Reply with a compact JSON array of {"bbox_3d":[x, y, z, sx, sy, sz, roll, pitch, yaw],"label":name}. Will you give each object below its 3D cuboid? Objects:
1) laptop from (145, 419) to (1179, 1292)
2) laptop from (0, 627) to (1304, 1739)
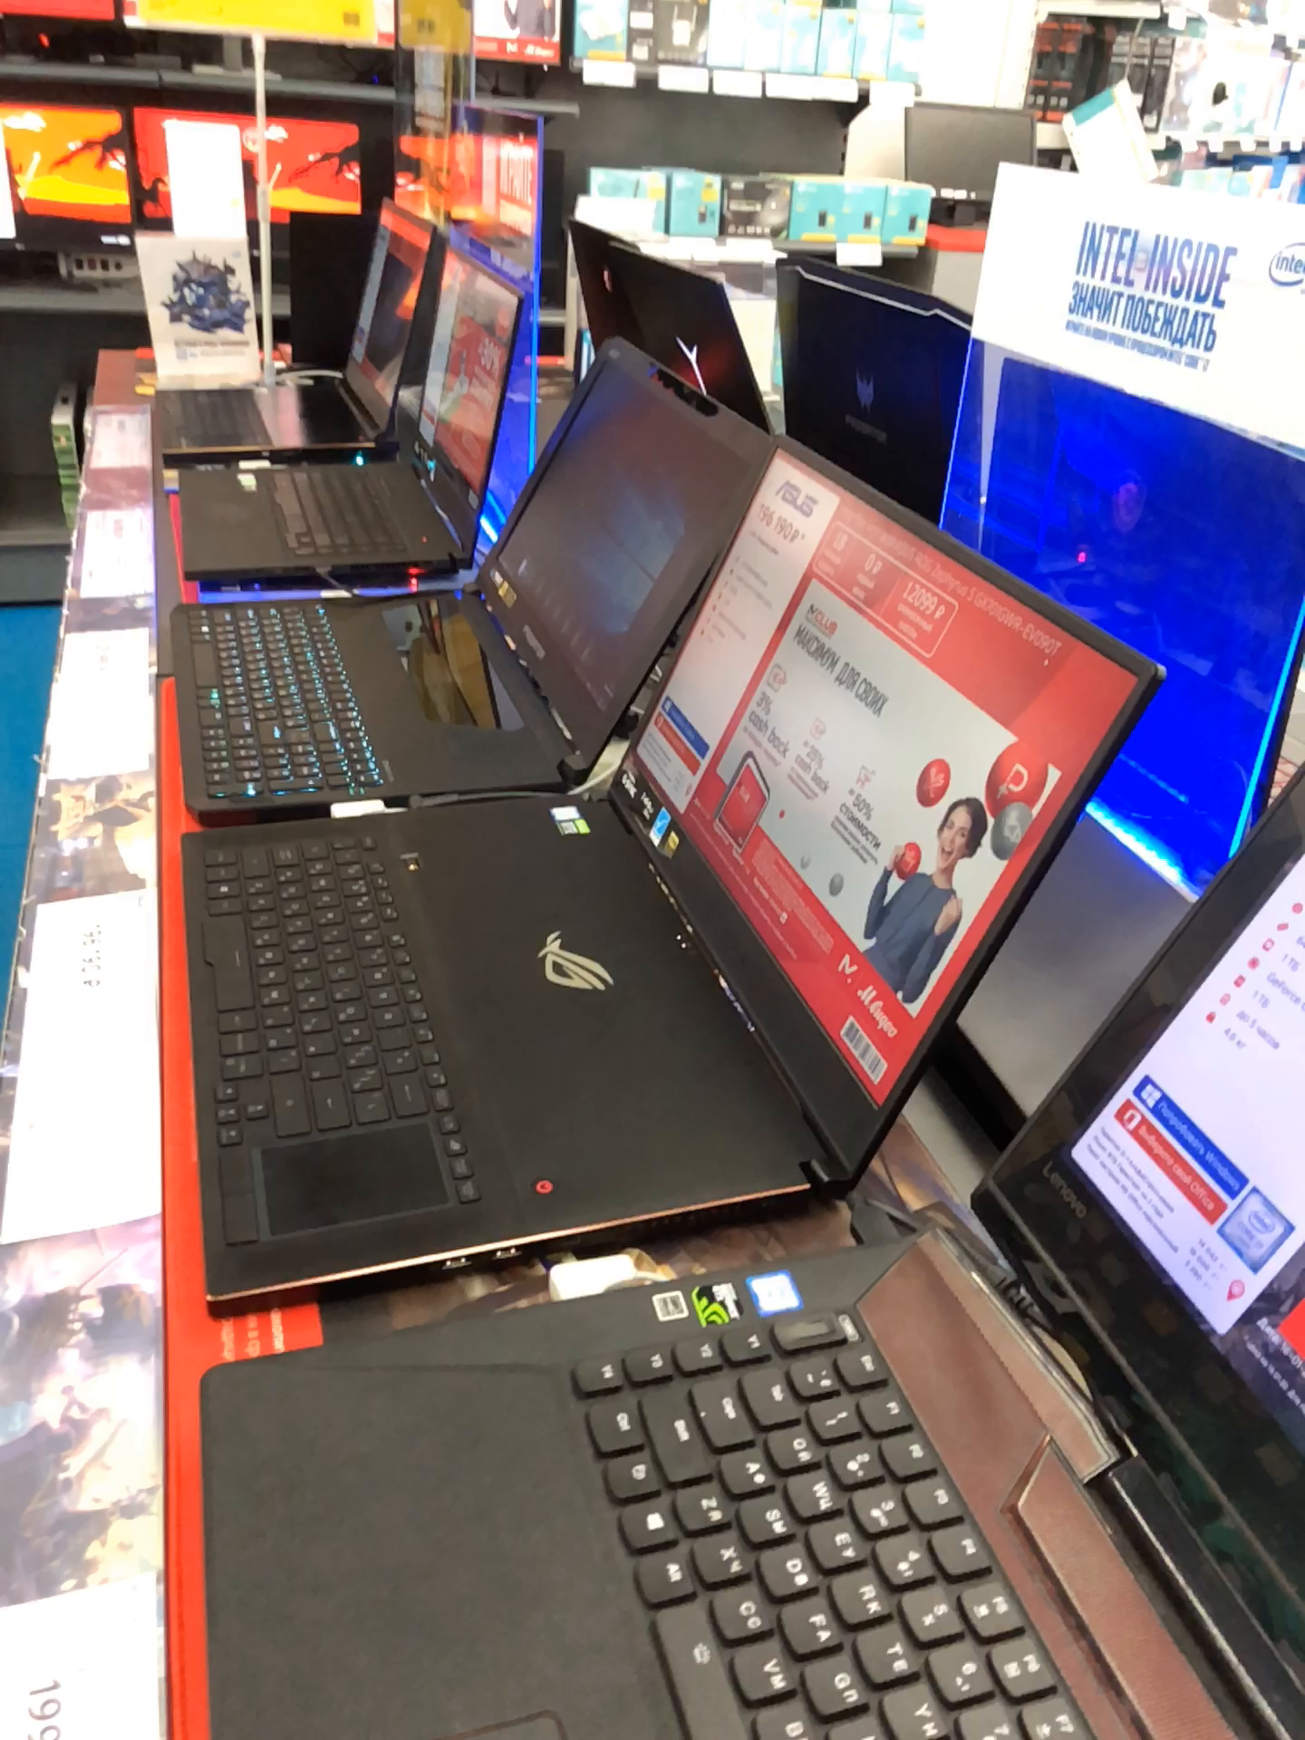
[{"bbox_3d":[-0.042,-0.056,0.720,0.377,0.240,0.392,-6,31,-17],"label":"laptop"},{"bbox_3d":[0.107,0.131,0.329,0.411,0.248,0.376,-6,28,-15],"label":"laptop"}]
